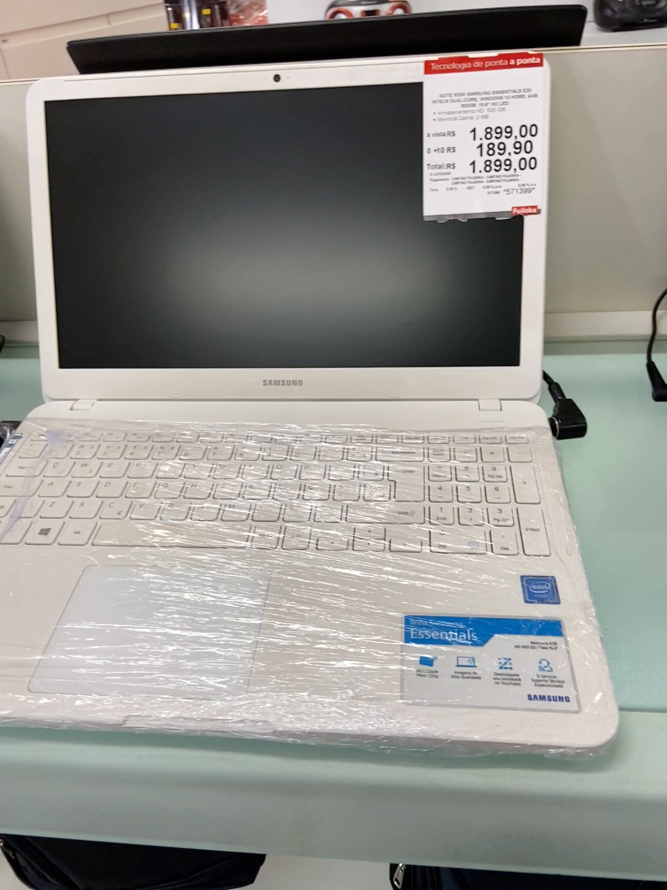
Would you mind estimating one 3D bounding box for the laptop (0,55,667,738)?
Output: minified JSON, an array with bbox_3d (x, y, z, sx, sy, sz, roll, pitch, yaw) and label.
[{"bbox_3d":[-0.051,-0.070,0.409,0.375,0.192,0.383,0,40,7],"label":"laptop"}]
